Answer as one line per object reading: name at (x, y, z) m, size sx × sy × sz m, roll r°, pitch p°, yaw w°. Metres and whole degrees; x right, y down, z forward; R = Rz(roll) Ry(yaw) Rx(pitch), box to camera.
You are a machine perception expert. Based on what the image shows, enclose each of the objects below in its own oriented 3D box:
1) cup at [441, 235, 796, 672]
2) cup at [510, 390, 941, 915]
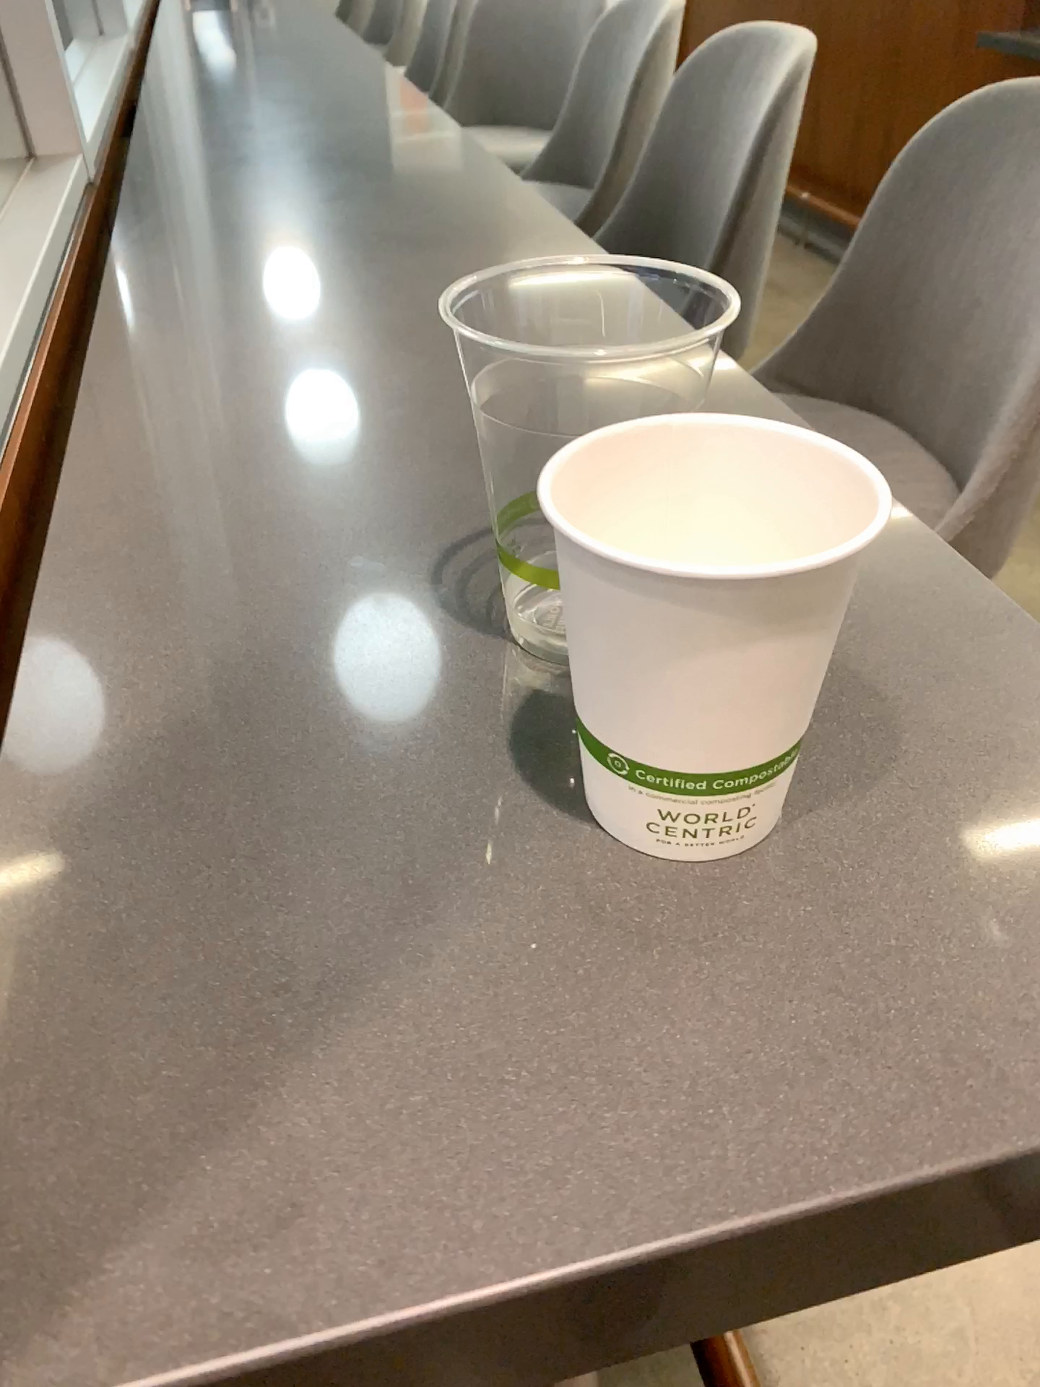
cup at (0.028, -0.082, 0.369) m, size 0.100 × 0.119 × 0.081 m, roll -3°, pitch 37°, yaw 0°
cup at (0.046, -0.012, 0.299) m, size 0.090 × 0.109 × 0.091 m, roll -2°, pitch 37°, yaw 1°
